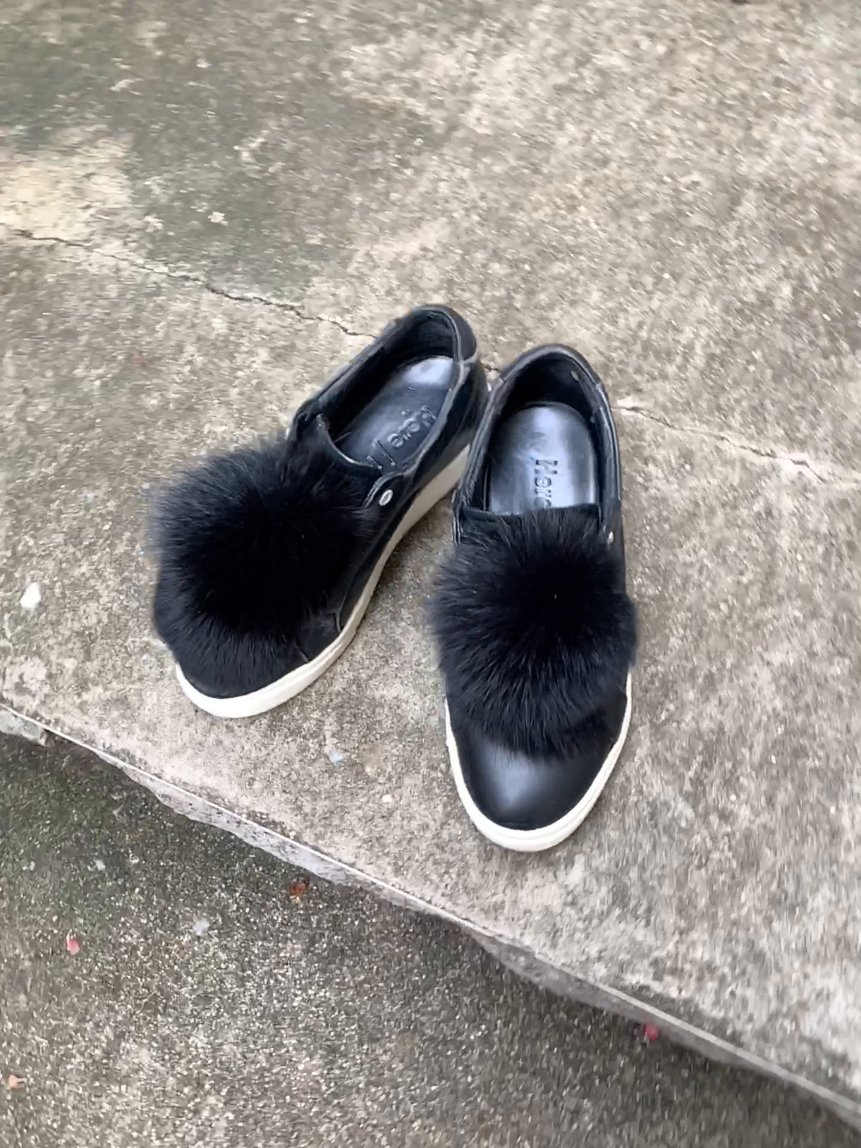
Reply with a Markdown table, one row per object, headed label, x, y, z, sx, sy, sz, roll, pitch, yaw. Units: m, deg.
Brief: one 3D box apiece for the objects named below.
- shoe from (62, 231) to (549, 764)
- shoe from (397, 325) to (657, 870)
| label | x | y | z | sx | sy | sz | roll | pitch | yaw |
| --- | --- | --- | --- | --- | --- | --- | --- | --- | --- |
| shoe | -0.051 | -0.043 | 0.480 | 0.095 | 0.098 | 0.269 | 33 | 75 | 19 |
| shoe | 0.054 | 0.009 | 0.431 | 0.098 | 0.098 | 0.244 | 3 | 68 | 9 |
